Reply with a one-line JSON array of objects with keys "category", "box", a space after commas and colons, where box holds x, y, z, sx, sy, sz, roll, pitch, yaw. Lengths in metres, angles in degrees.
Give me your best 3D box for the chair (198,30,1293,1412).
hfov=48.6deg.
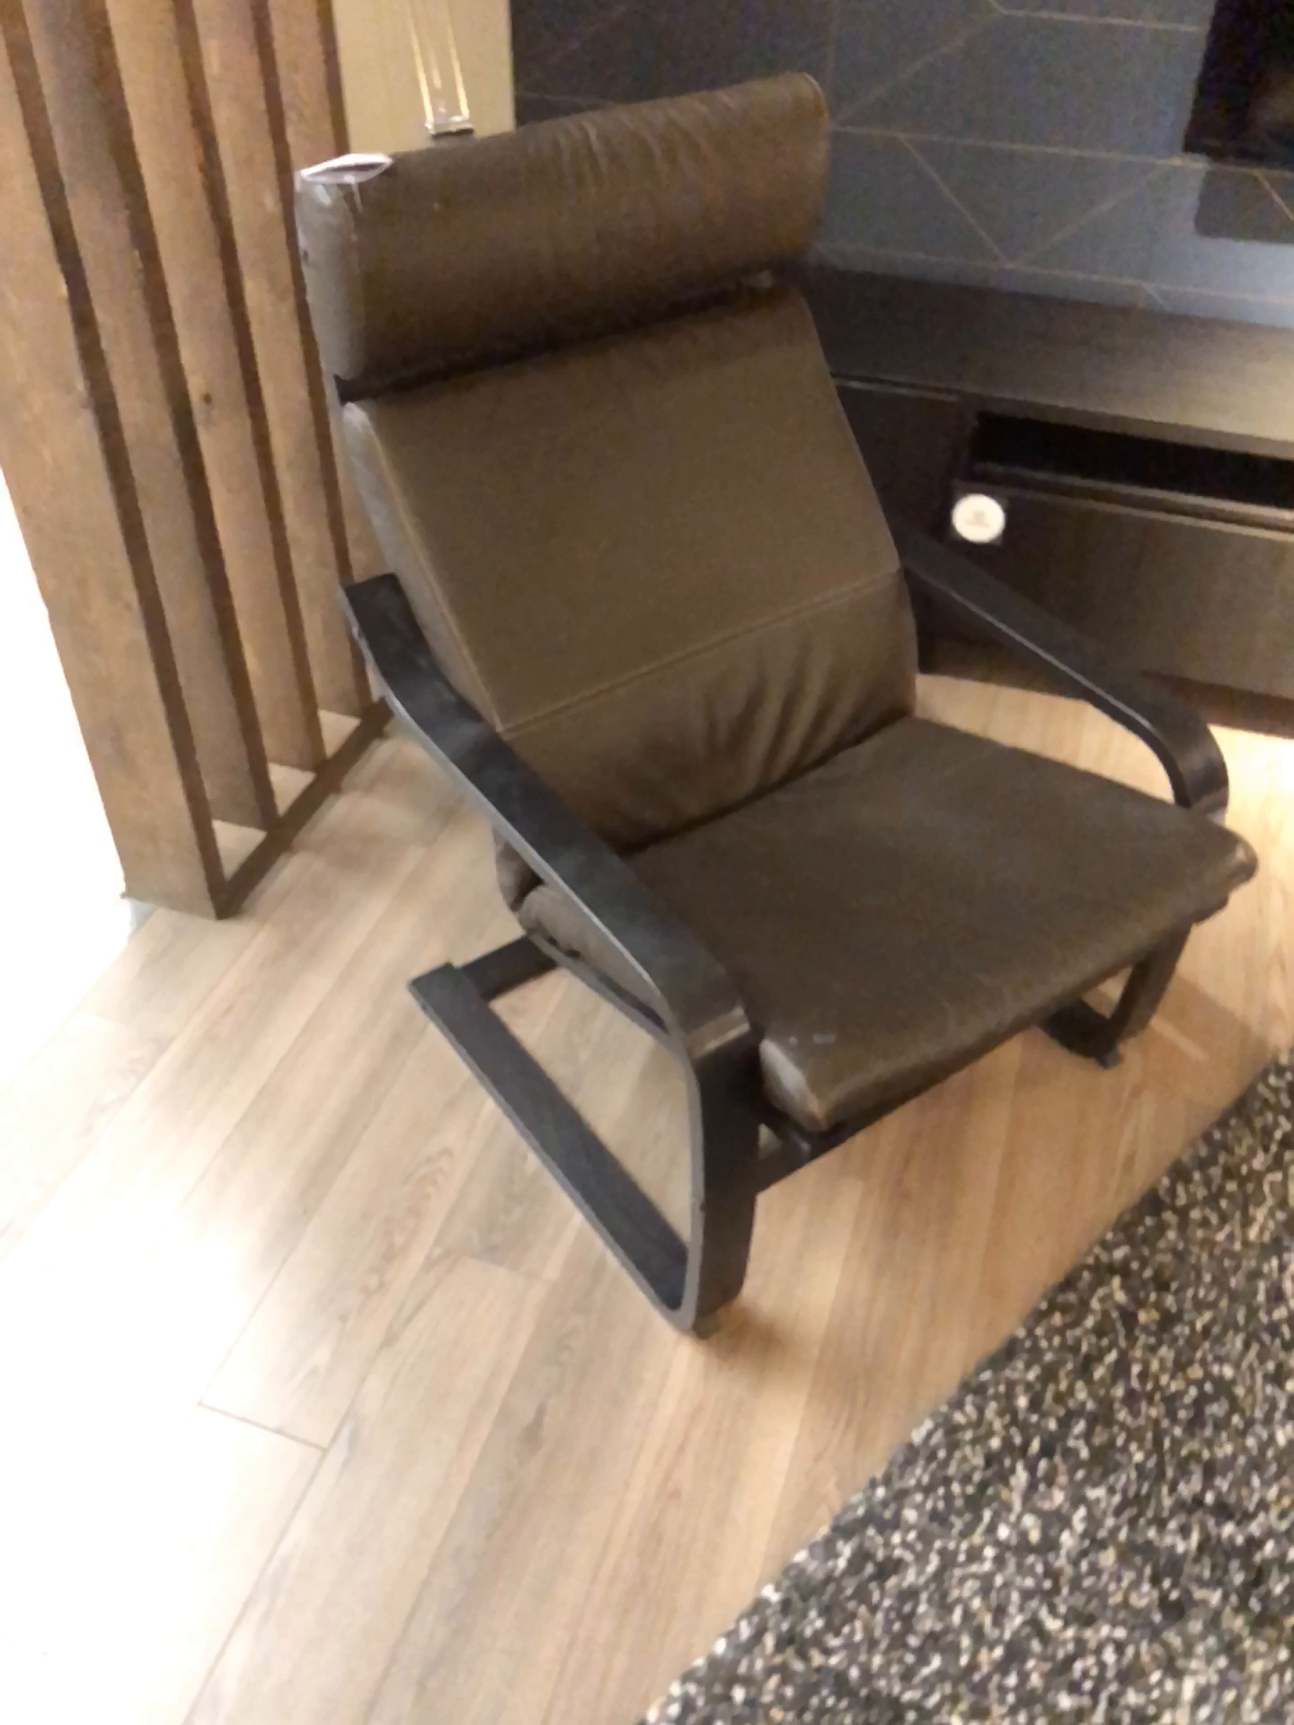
[{"category": "chair", "box": [0.170, -0.186, 1.386, 0.781, 0.876, 0.732, -26, 48, -27]}]
